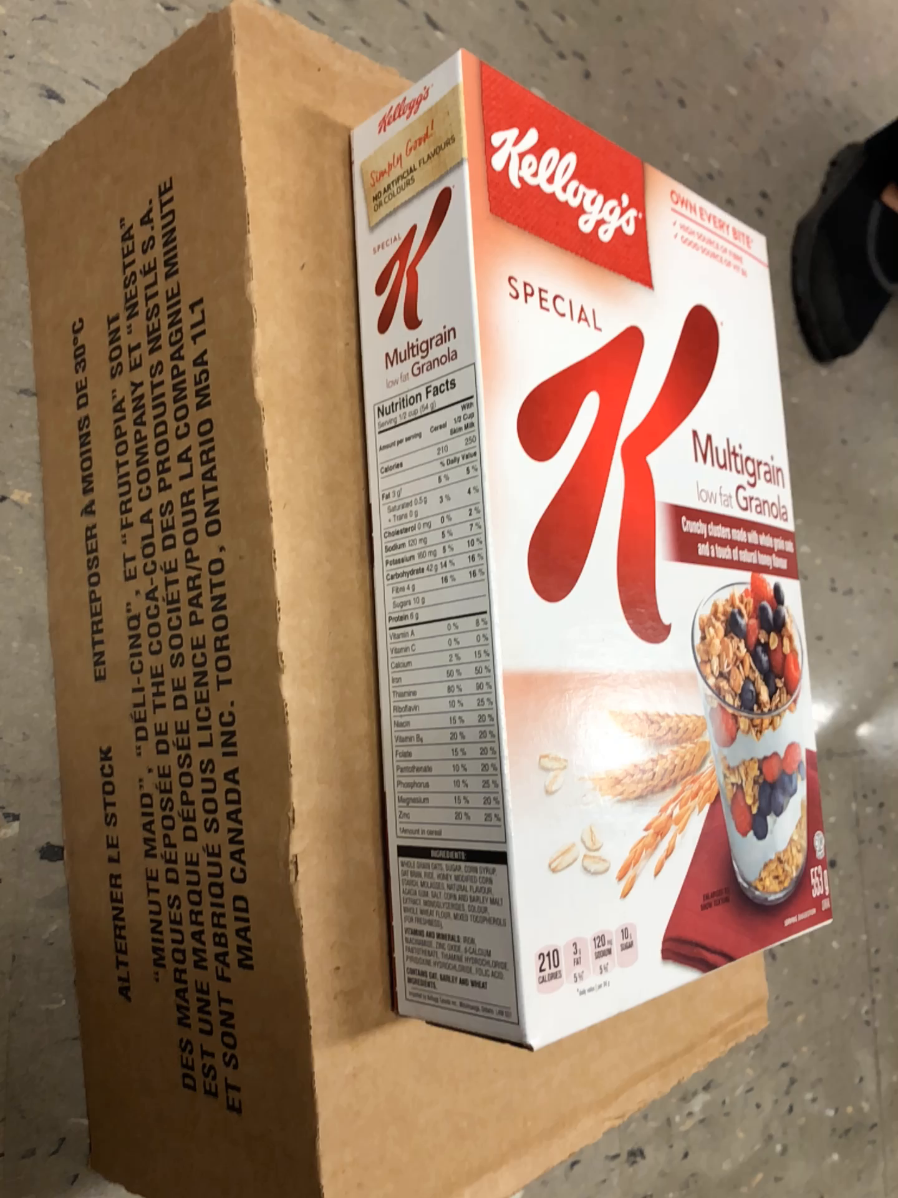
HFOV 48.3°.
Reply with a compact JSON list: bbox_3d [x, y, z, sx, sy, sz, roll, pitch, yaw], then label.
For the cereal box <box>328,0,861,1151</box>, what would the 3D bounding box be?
[{"bbox_3d":[0.054,-0.009,0.311,0.181,0.050,0.270,7,75,-51],"label":"cereal box"}]
